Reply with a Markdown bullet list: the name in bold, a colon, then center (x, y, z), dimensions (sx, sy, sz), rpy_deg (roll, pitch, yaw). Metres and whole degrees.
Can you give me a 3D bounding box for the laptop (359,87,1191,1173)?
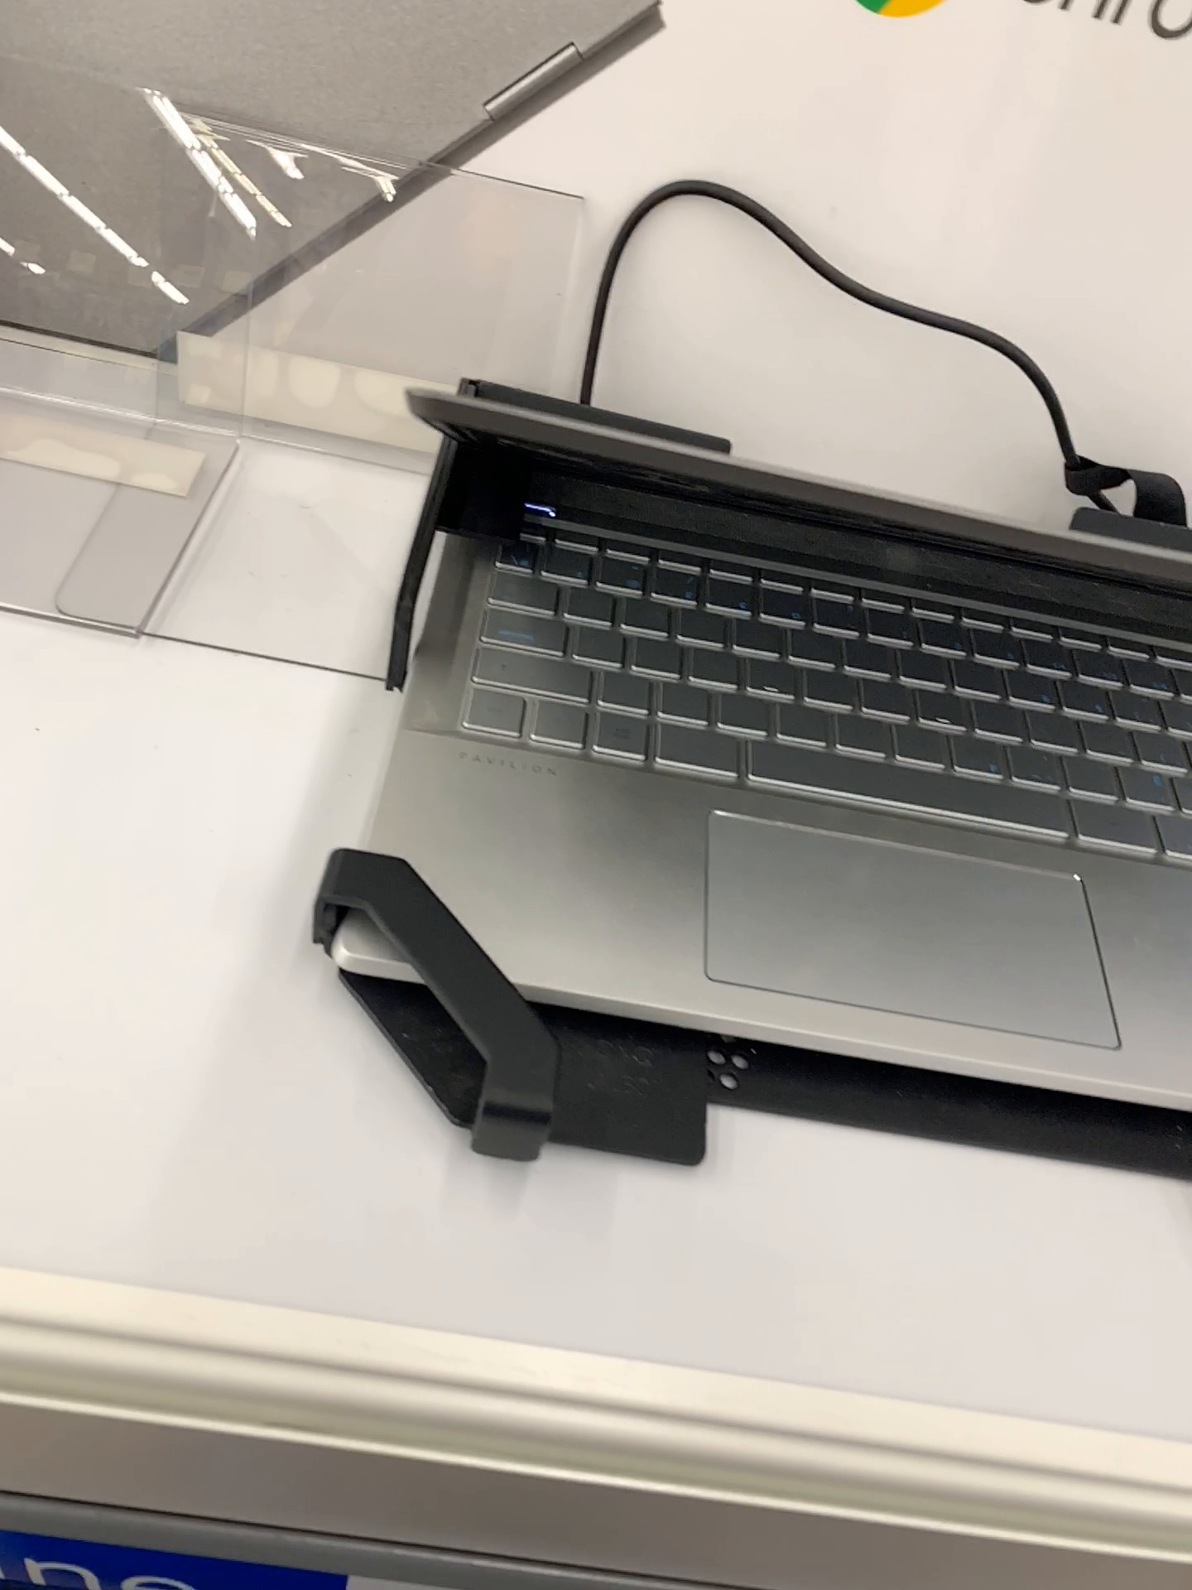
- **laptop**: center (0.102, -0.050, 0.303), dimensions (0.283, 0.111, 0.194), rpy_deg (10, 48, -3)
